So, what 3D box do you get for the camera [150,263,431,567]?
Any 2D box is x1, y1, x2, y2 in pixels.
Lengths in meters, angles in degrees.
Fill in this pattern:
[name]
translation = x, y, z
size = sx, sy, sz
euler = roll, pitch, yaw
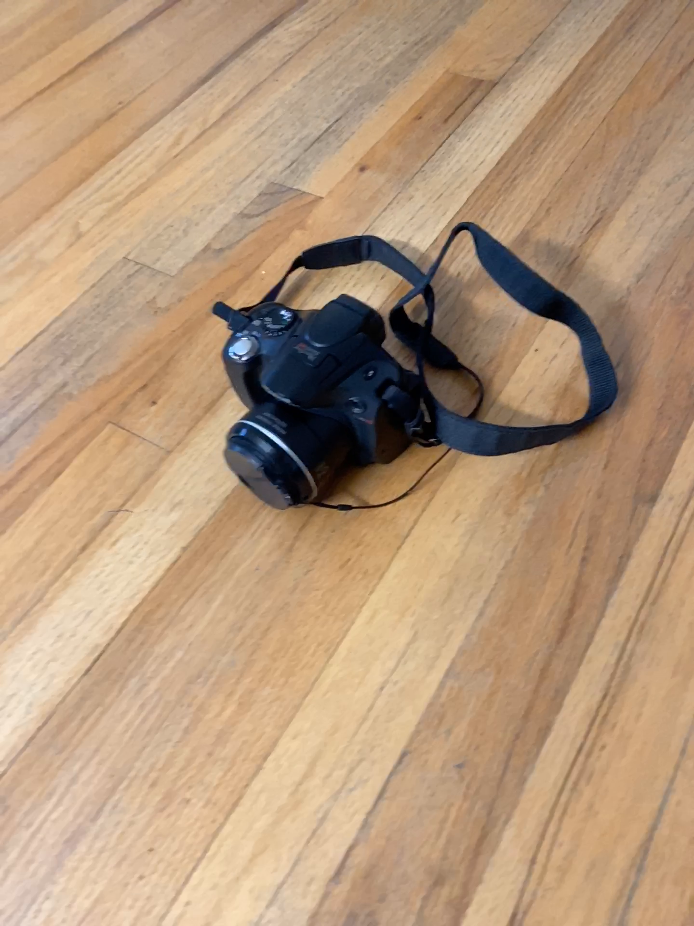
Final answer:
[camera]
translation = -0.027, -0.031, 0.451
size = 0.110, 0.110, 0.120
euler = 27, 64, 24
